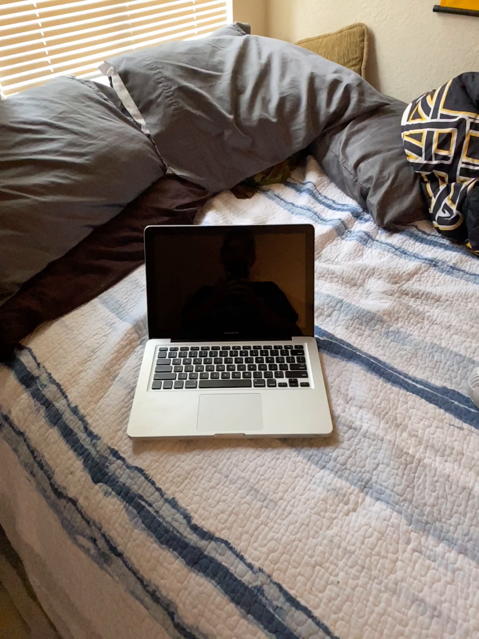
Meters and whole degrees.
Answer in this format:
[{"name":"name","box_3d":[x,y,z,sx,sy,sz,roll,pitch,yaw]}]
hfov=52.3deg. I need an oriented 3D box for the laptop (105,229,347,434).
[{"name":"laptop","box_3d":[-0.019,0.004,0.833,0.319,0.169,0.348,-1,39,1]}]
